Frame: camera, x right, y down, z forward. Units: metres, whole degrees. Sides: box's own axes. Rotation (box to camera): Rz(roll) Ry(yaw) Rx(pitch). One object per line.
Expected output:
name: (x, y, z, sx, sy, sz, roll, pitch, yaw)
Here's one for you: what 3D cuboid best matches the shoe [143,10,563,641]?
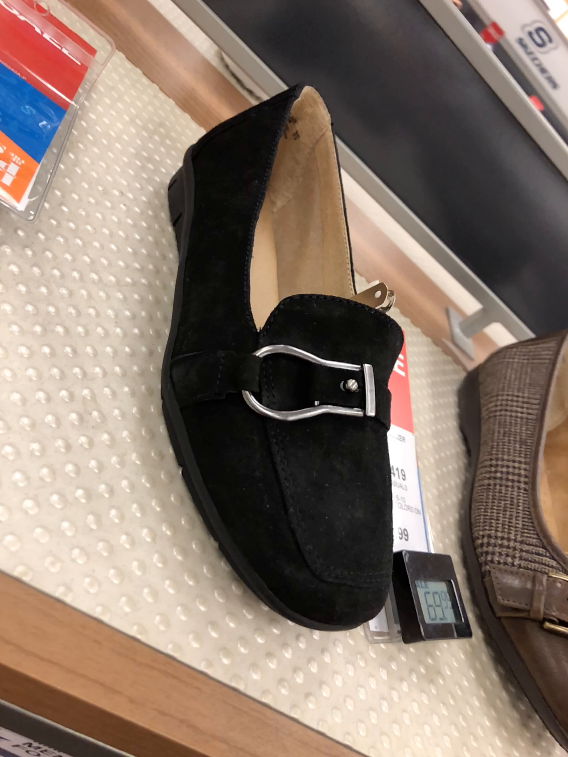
shoe: (0.007, -0.032, 0.254, 0.080, 0.079, 0.238, 22, 42, -40)
